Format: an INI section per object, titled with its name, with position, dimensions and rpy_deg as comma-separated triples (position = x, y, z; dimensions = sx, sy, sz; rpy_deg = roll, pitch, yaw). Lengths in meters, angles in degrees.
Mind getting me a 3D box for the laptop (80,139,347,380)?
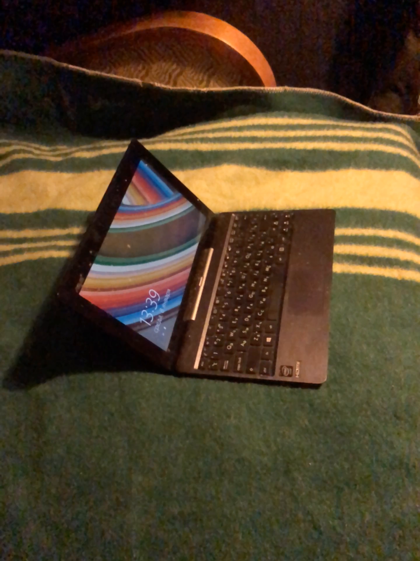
[laptop]
position = 0.019, -0.036, 0.556
dimensions = 0.257, 0.116, 0.258
rpy_deg = 3, 52, 15
